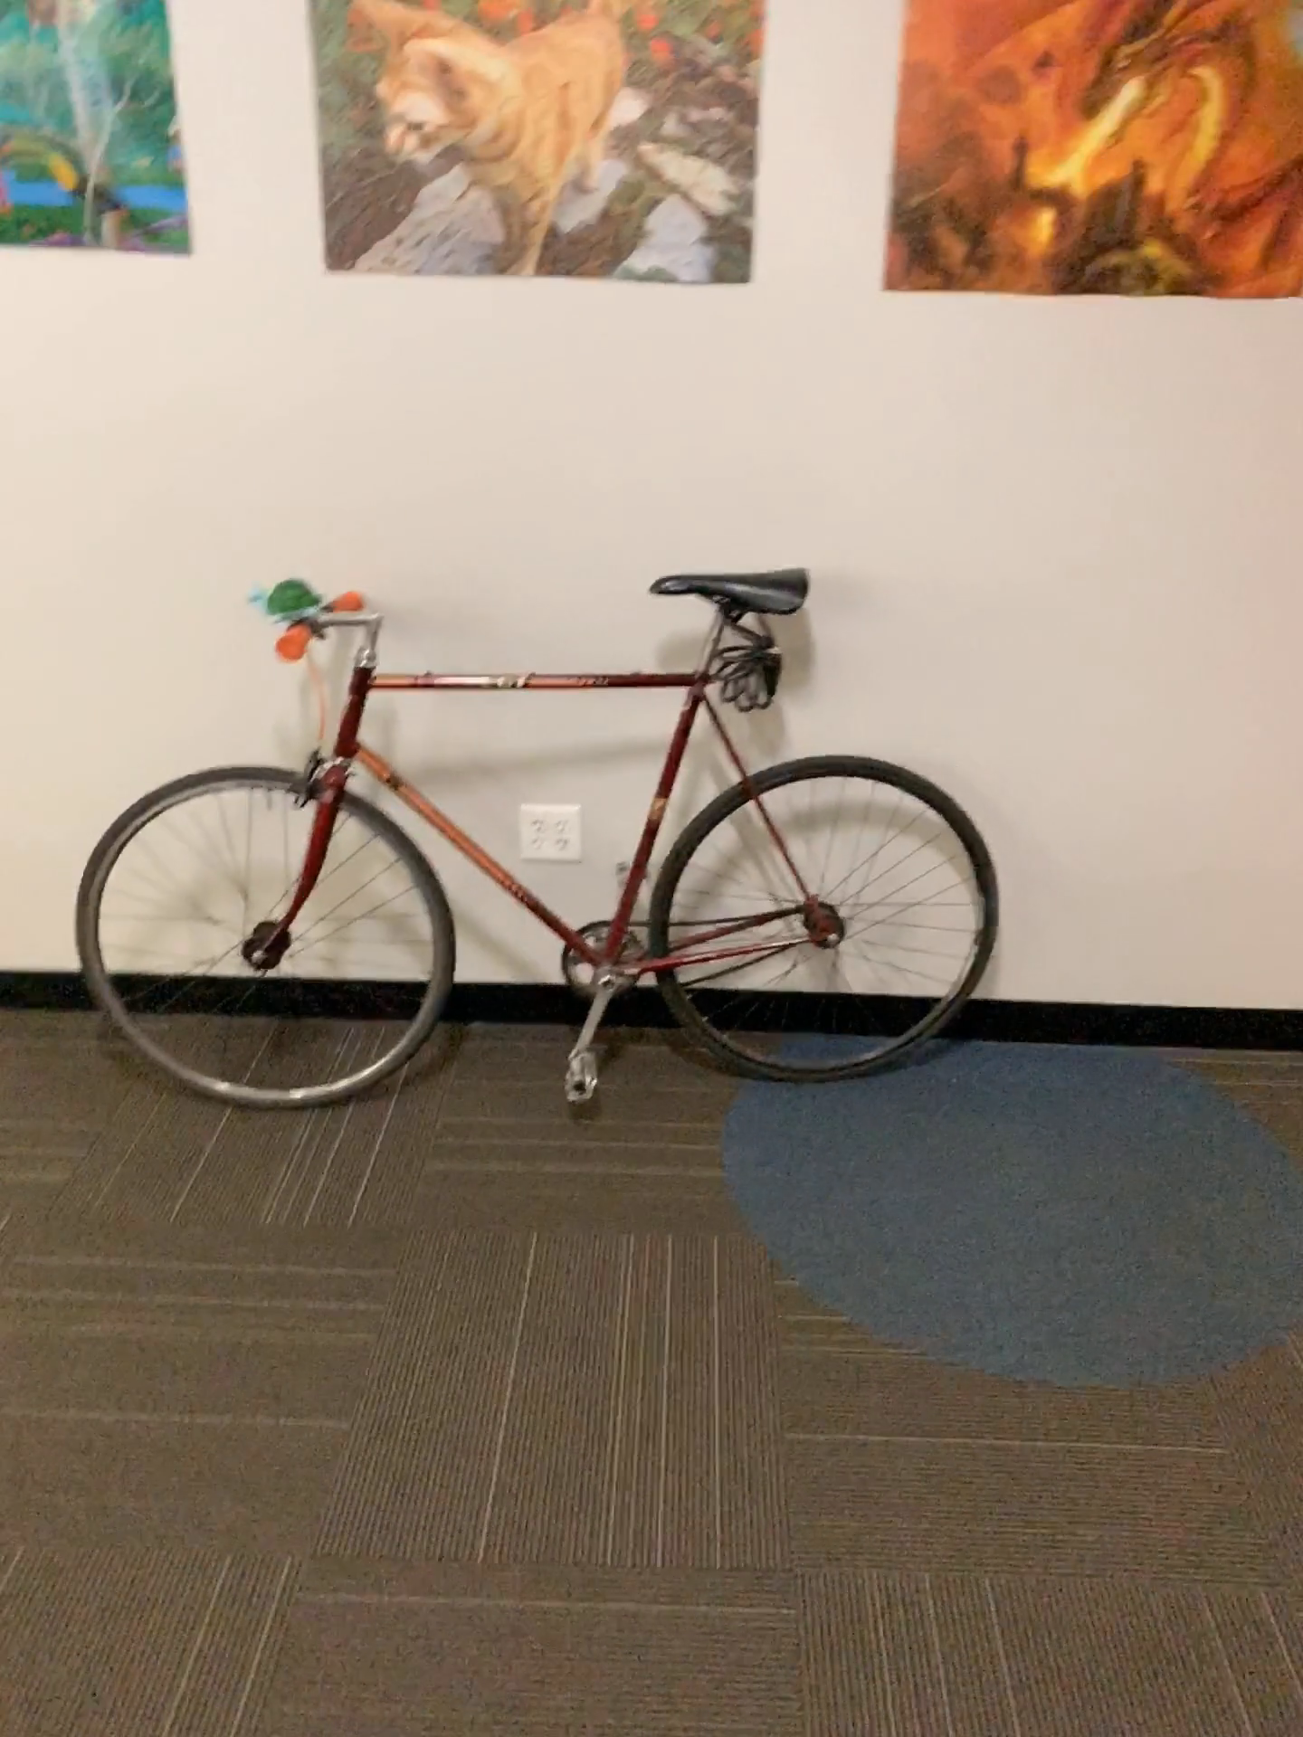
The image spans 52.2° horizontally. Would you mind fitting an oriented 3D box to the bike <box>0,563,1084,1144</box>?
[{"bbox_3d":[-0.173,-0.037,2.396,1.626,0.909,0.450,-1,25,-5],"label":"bike"}]
